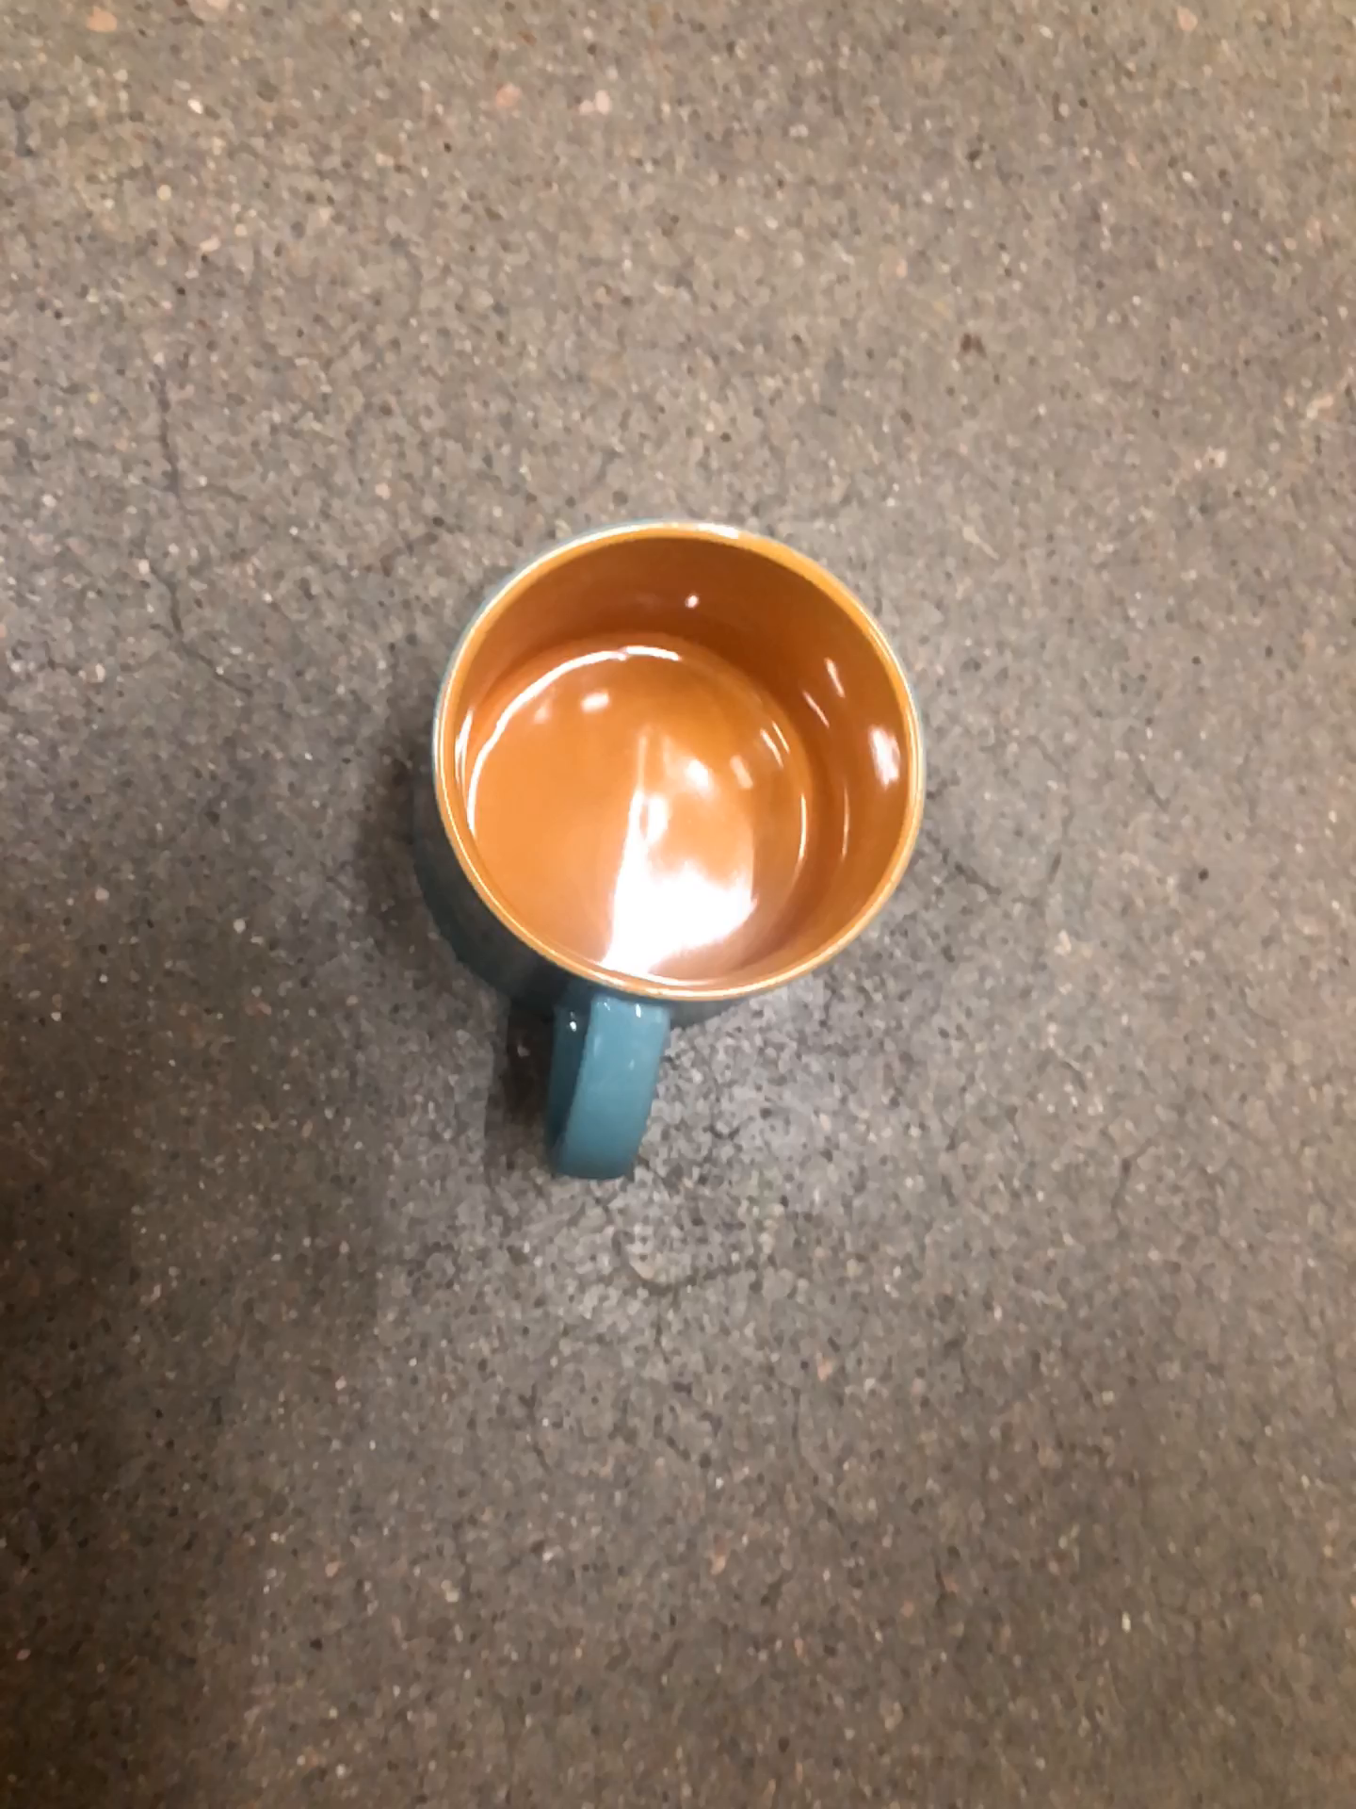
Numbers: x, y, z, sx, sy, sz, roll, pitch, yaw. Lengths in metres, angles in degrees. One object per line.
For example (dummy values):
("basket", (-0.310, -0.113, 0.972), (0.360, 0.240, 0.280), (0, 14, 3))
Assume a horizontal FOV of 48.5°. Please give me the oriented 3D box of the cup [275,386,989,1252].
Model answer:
("cup", (-0.012, -0.012, 0.330), (0.107, 0.097, 0.143), (13, 83, -7))
